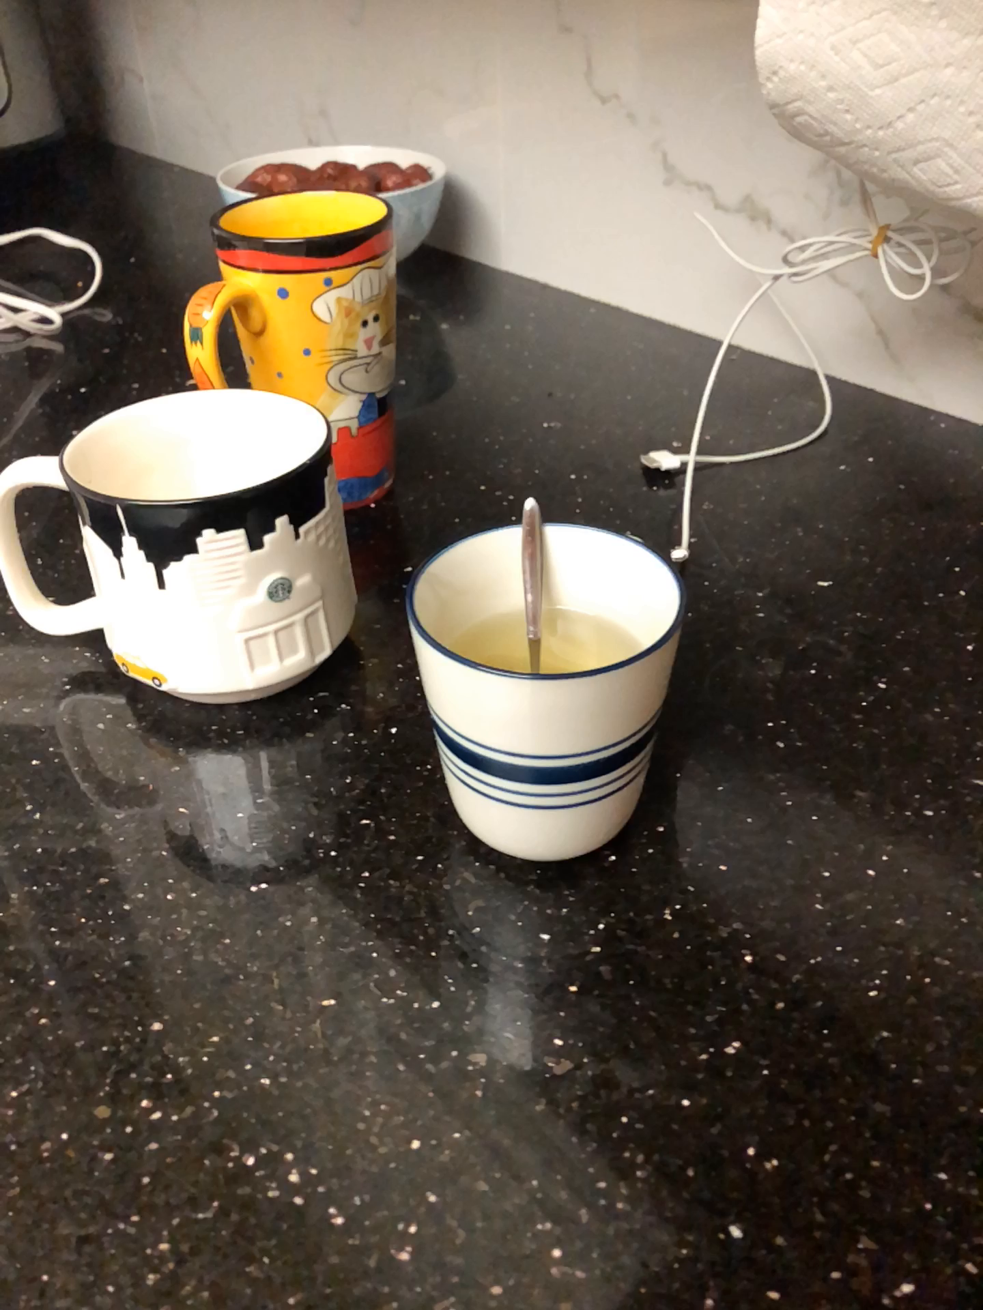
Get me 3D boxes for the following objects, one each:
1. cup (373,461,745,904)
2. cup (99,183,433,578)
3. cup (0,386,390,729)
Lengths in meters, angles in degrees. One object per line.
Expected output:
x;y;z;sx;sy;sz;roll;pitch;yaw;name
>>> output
0.027;0.006;0.386;0.100;0.109;0.090;10;38;16;cup
-0.104;-0.144;0.557;0.090;0.149;0.131;15;39;21;cup
-0.129;-0.044;0.467;0.150;0.109;0.101;1;36;4;cup
